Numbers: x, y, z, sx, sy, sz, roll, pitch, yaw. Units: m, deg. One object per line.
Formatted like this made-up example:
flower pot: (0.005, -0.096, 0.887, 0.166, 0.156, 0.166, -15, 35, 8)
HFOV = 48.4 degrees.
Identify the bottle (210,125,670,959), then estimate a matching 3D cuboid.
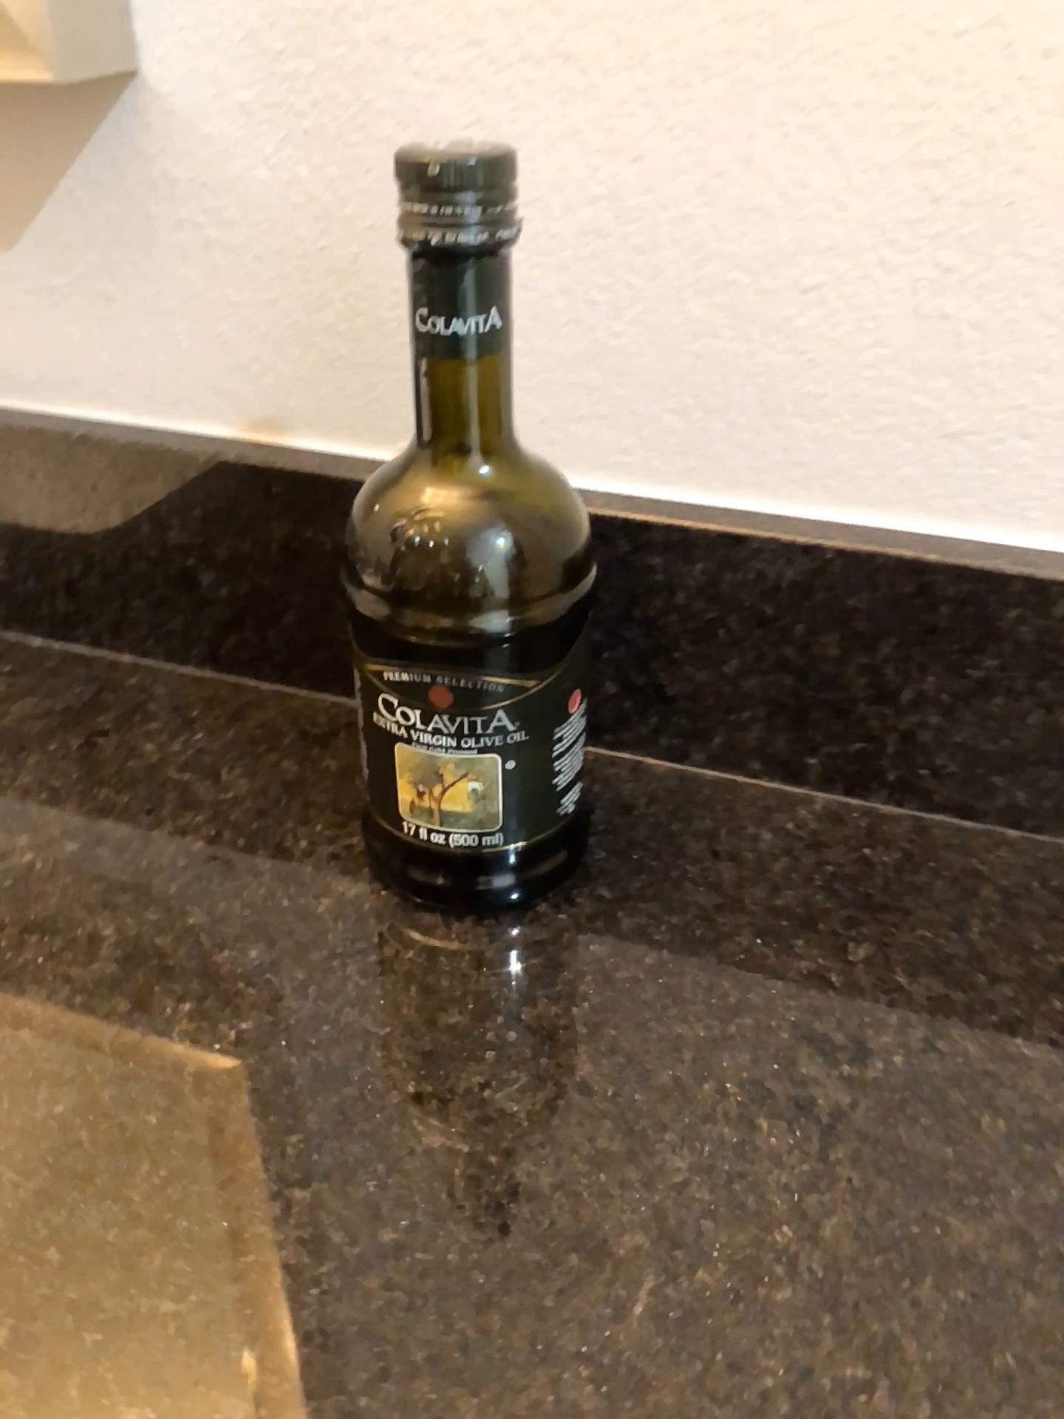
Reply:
bottle: (-0.018, -0.045, 0.353, 0.090, 0.219, 0.090, 0, 33, 0)
